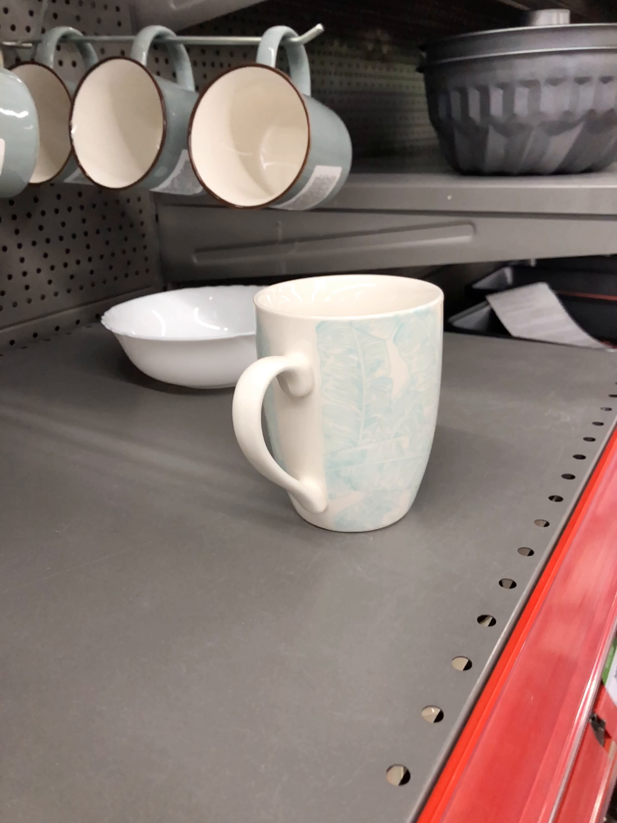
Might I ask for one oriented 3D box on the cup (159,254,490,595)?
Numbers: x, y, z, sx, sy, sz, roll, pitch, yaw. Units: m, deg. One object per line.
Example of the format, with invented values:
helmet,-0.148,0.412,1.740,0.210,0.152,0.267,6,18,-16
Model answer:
cup,0.012,-0.006,0.302,0.083,0.098,0.121,16,28,33
